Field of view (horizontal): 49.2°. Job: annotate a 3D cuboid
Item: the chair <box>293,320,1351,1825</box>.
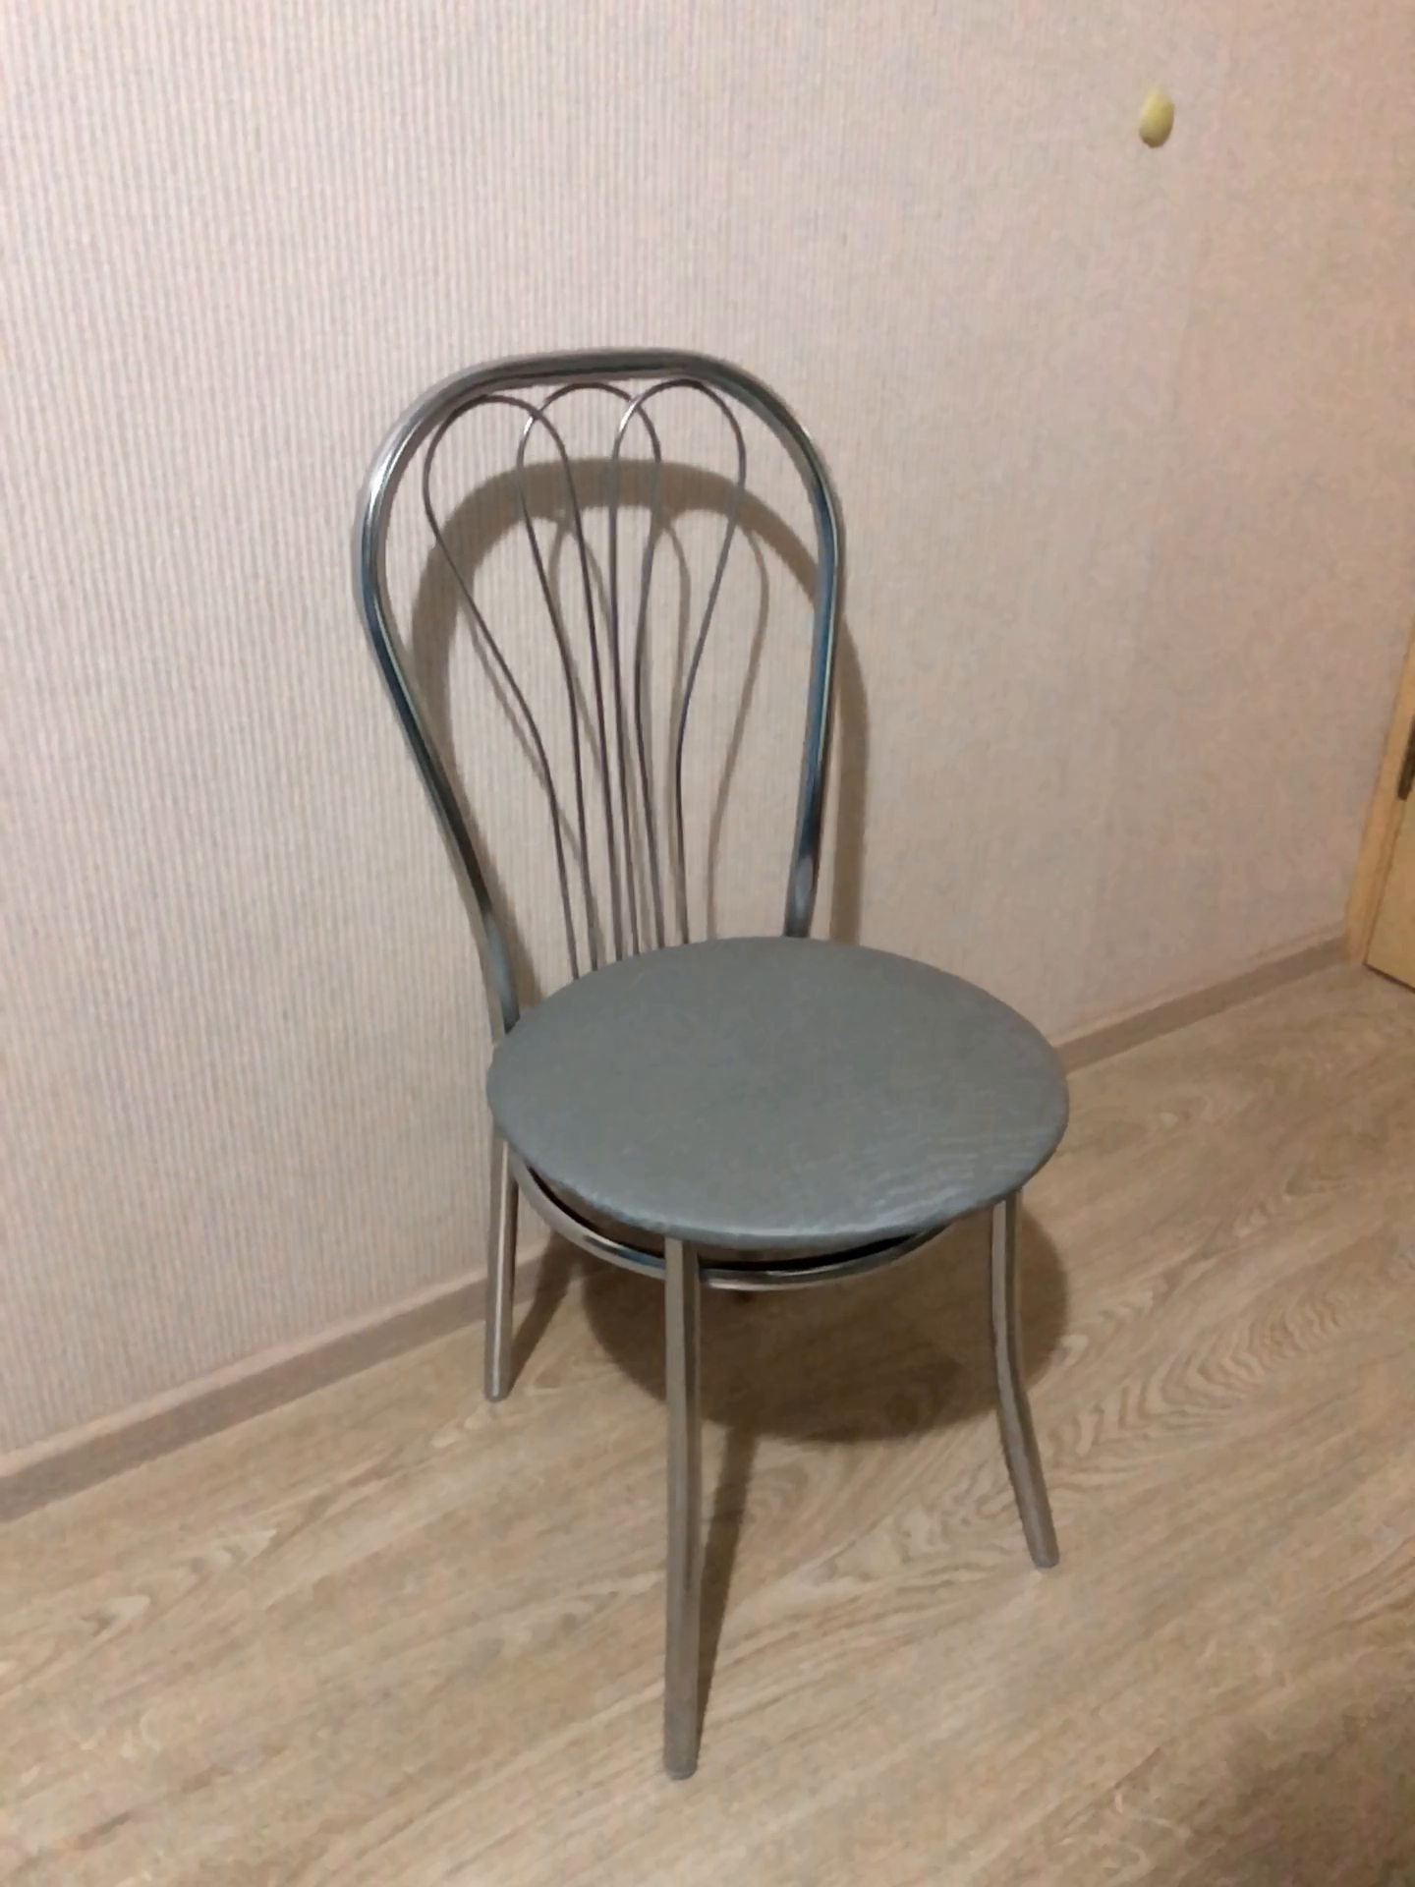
[{"bbox_3d":[0.025,0.045,1.057,0.401,0.825,0.472,-14,31,-28],"label":"chair"}]
